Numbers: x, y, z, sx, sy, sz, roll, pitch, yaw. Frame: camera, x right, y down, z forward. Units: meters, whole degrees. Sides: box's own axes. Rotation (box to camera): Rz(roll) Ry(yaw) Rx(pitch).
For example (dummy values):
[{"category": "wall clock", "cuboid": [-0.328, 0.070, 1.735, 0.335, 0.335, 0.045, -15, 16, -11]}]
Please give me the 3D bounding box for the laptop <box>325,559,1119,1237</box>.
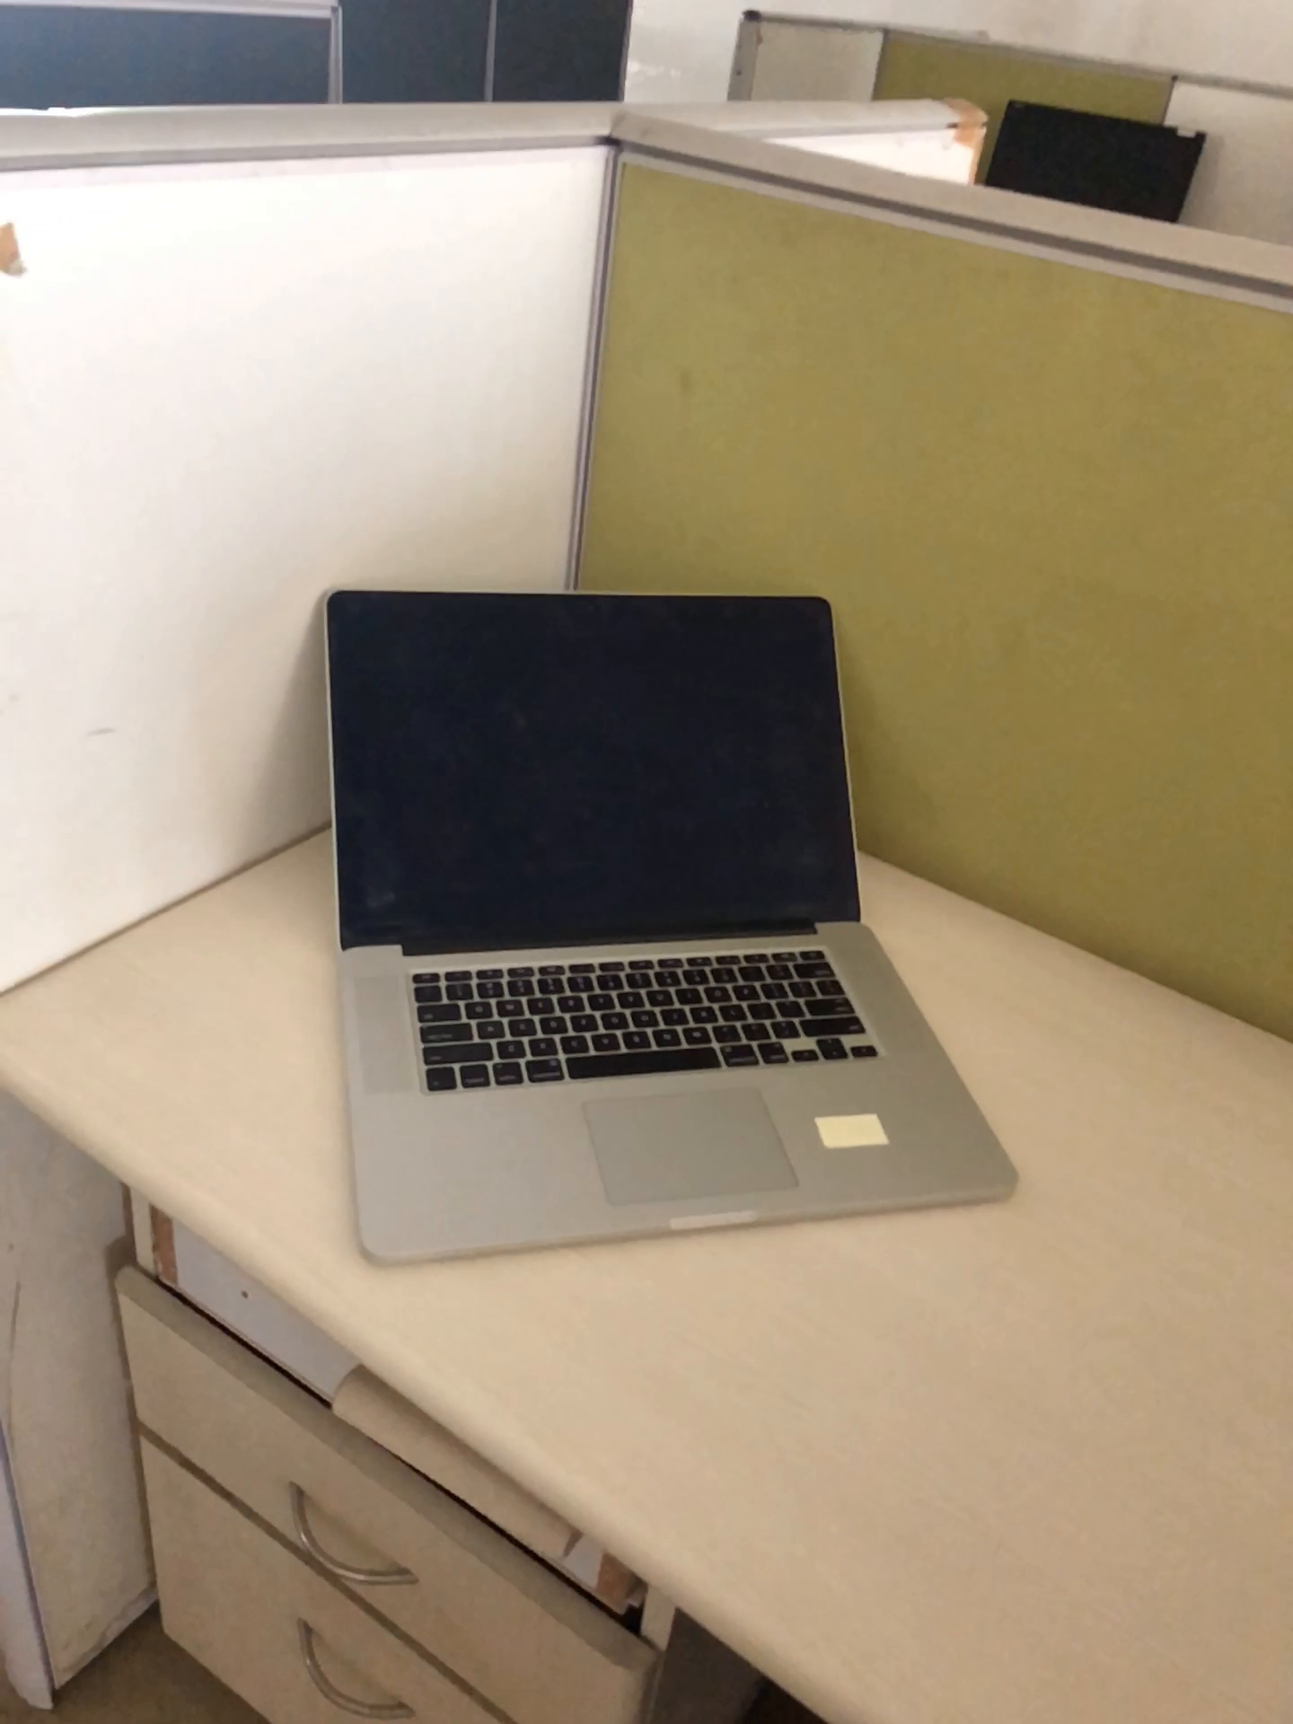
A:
[{"category": "laptop", "cuboid": [0.001, -0.011, 0.829, 0.345, 0.163, 0.405, -2, 35, -15]}]
